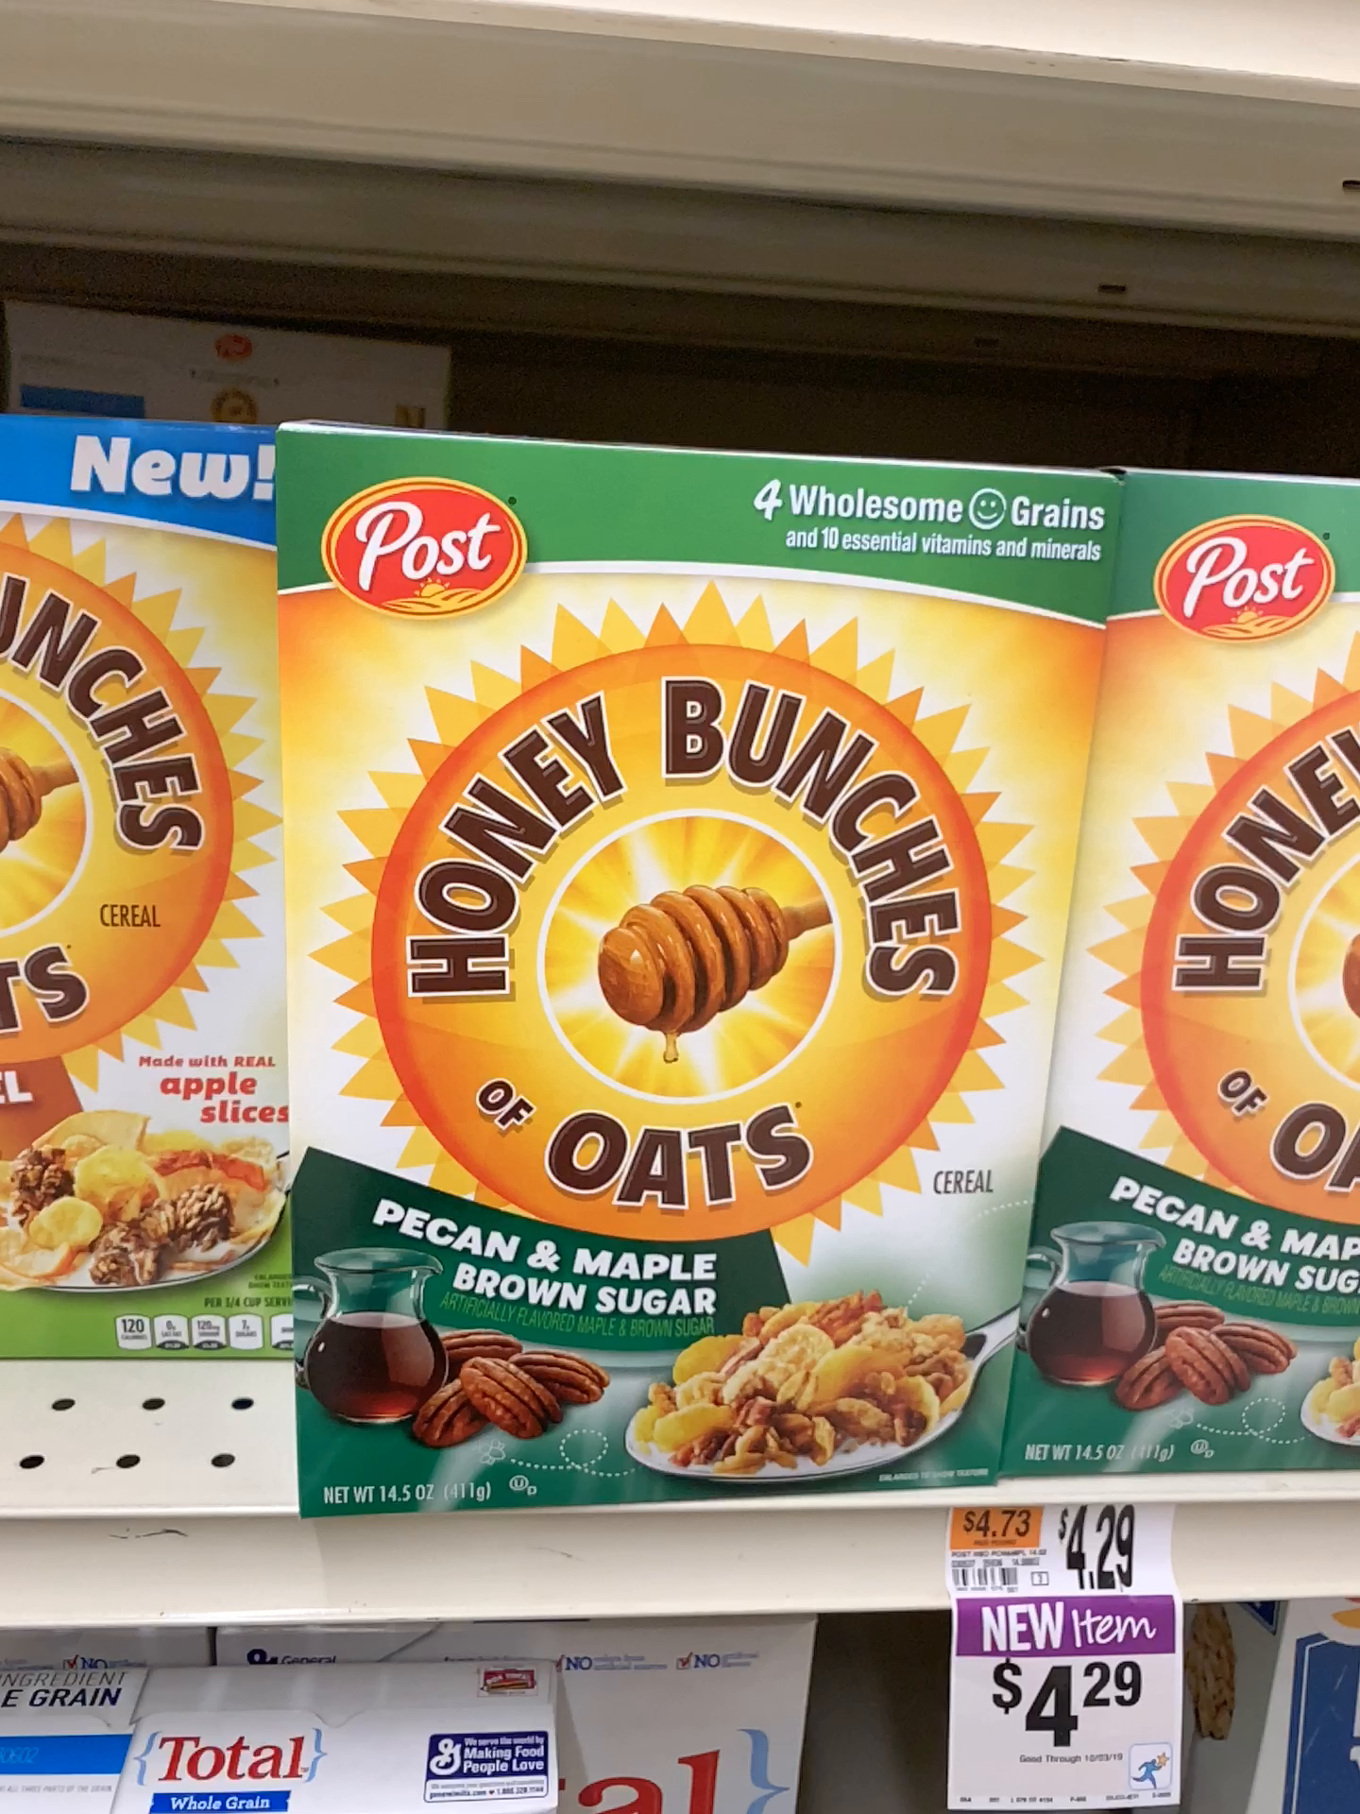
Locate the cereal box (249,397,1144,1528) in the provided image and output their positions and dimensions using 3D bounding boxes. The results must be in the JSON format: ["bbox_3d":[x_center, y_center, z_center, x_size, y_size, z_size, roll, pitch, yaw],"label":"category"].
[{"bbox_3d":[-0.004,0.020,0.375,0.200,0.279,0.060,1,16,-9],"label":"cereal box"}]
